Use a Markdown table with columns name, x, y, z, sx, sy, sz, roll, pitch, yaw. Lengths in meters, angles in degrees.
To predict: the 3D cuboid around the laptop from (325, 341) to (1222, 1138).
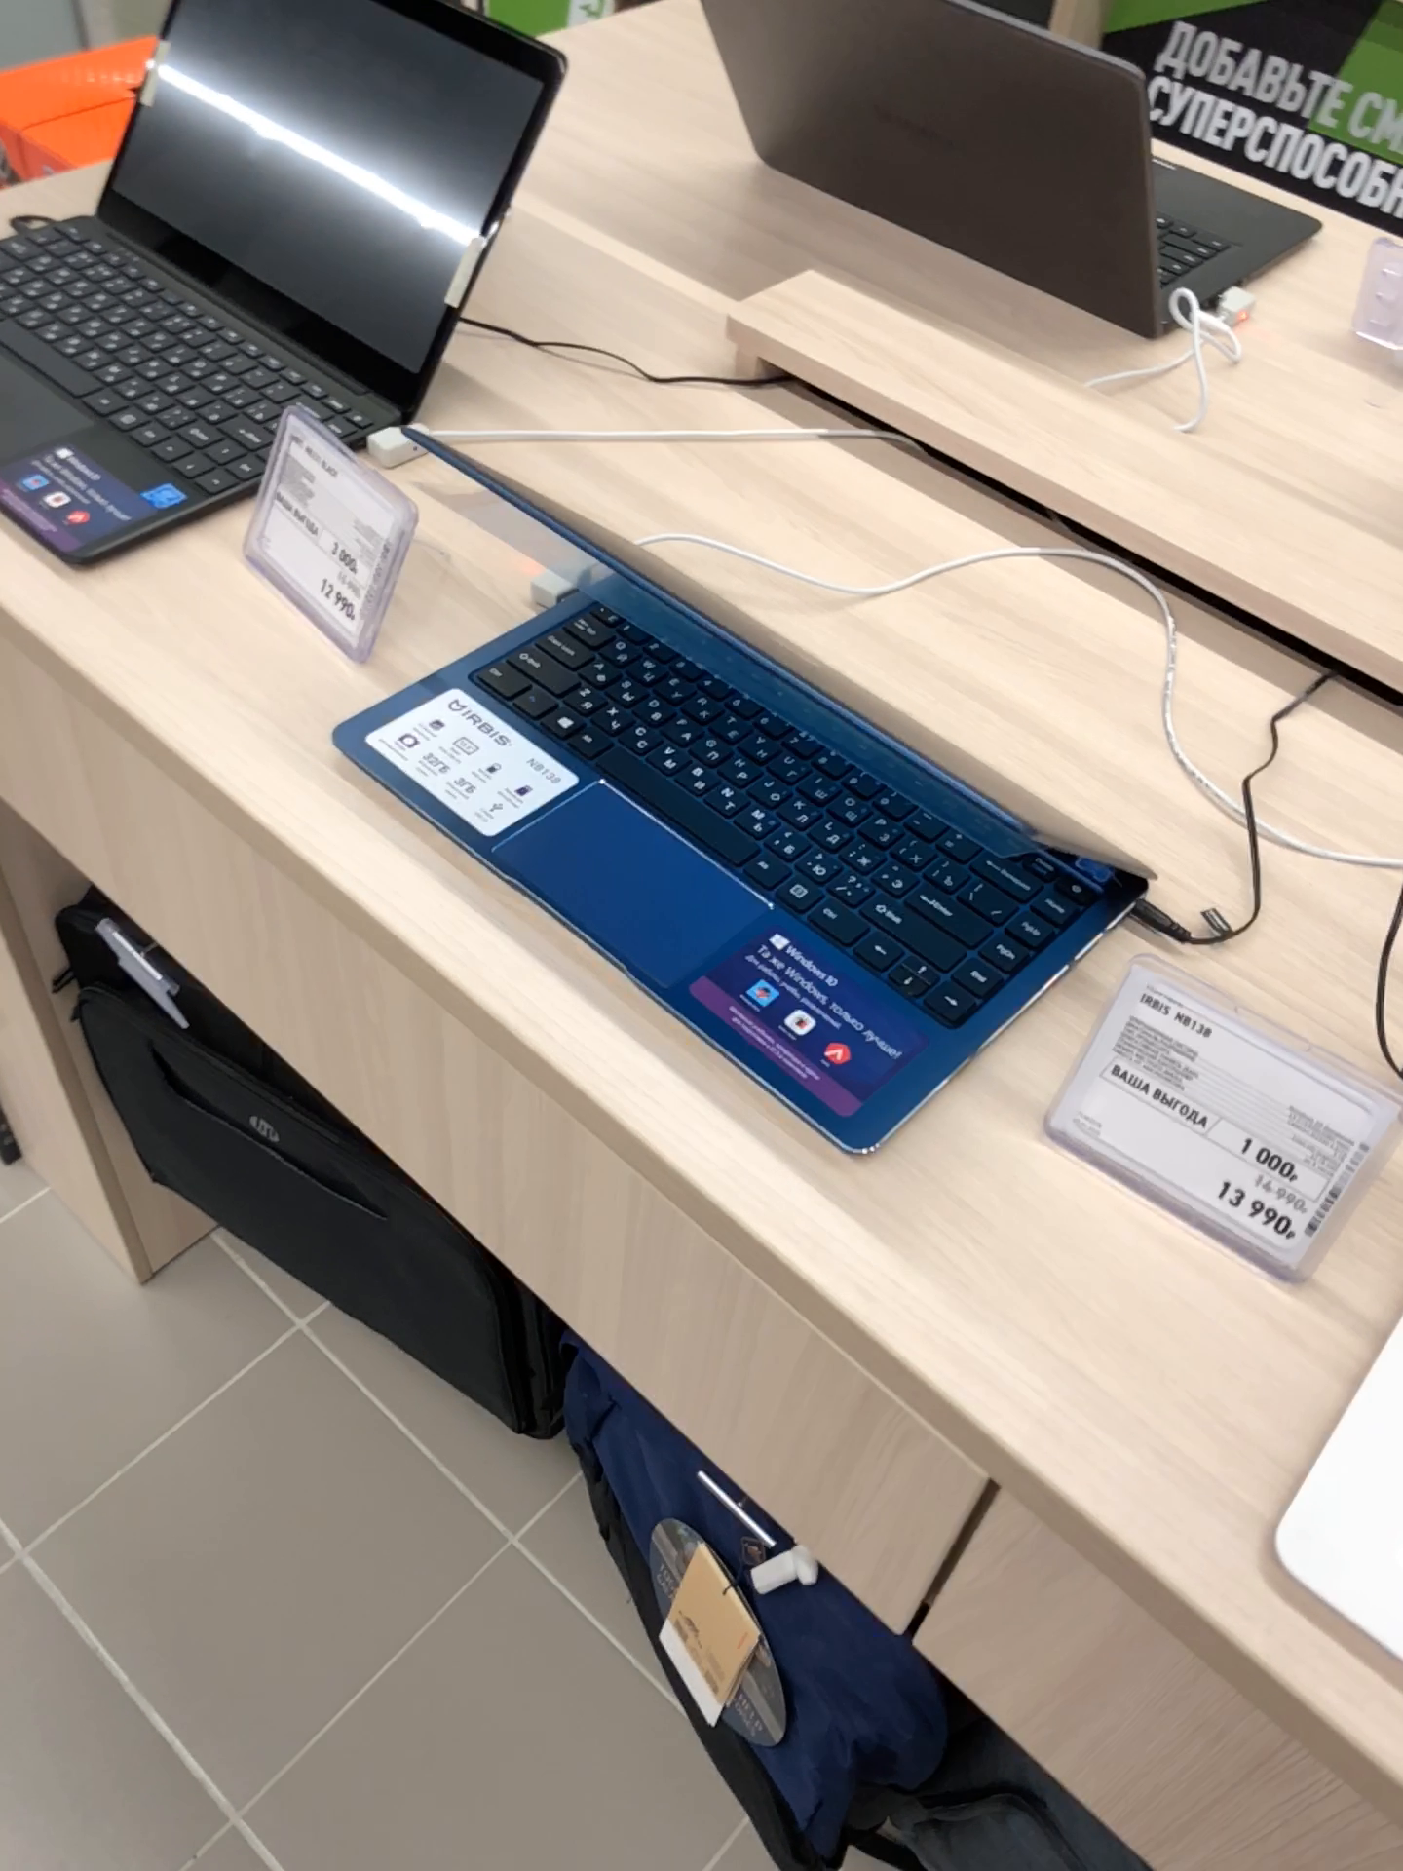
| name | x | y | z | sx | sy | sz | roll | pitch | yaw |
| --- | --- | --- | --- | --- | --- | --- | --- | --- | --- |
| laptop | 0.018 | -0.100 | 0.651 | 0.309 | 0.124 | 0.189 | 38 | 57 | 25 |

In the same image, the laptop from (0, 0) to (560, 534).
| name | x | y | z | sx | sy | sz | roll | pitch | yaw |
| --- | --- | --- | --- | --- | --- | --- | --- | --- | --- |
| laptop | -0.308 | -0.419 | 0.863 | 0.294 | 0.165 | 0.323 | 38 | 56 | 25 |

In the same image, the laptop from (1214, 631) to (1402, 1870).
| name | x | y | z | sx | sy | sz | roll | pitch | yaw |
| --- | --- | --- | --- | --- | --- | --- | --- | --- | --- |
| laptop | 0.418 | 0.130 | 0.414 | 0.340 | 0.212 | 0.303 | 37 | 55 | 26 |
